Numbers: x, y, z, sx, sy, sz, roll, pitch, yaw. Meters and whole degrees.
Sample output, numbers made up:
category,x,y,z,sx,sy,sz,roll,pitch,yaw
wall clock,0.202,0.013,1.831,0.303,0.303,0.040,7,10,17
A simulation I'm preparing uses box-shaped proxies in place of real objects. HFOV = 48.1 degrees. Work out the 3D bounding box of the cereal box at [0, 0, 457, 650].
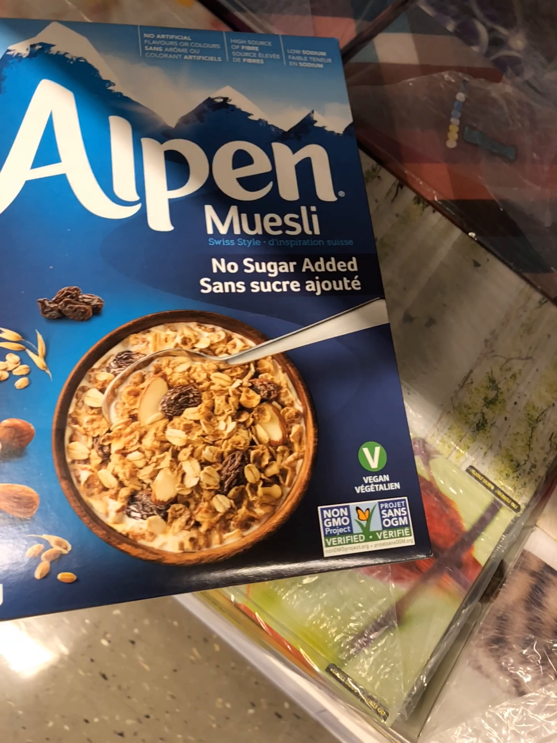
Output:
category,x,y,z,sx,sy,sz,roll,pitch,yaw
cereal box,-0.049,-0.046,0.266,0.190,0.050,0.270,-4,74,-13
